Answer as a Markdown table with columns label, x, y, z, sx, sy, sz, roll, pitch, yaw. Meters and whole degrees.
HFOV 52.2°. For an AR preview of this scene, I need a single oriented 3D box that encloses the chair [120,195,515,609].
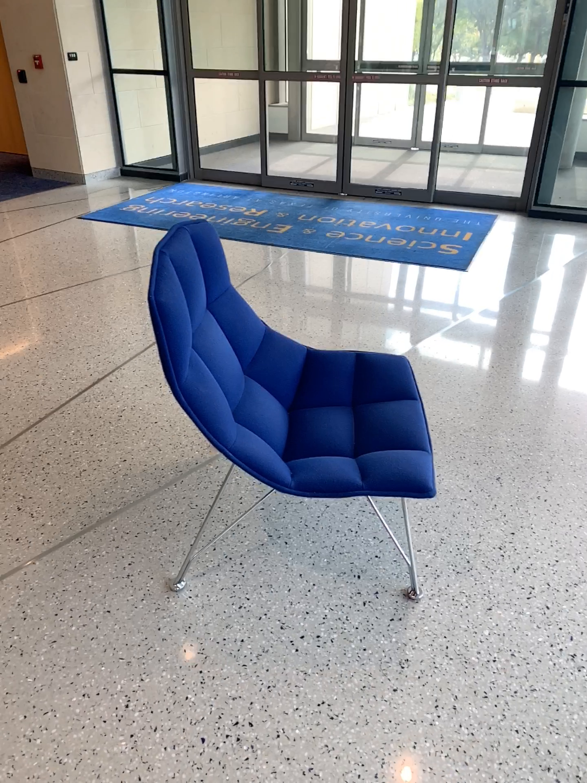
| label | x | y | z | sx | sy | sz | roll | pitch | yaw |
| --- | --- | --- | --- | --- | --- | --- | --- | --- | --- |
| chair | 0.068 | -0.014 | 1.840 | 0.828 | 0.963 | 0.805 | 2 | 30 | 3 |
